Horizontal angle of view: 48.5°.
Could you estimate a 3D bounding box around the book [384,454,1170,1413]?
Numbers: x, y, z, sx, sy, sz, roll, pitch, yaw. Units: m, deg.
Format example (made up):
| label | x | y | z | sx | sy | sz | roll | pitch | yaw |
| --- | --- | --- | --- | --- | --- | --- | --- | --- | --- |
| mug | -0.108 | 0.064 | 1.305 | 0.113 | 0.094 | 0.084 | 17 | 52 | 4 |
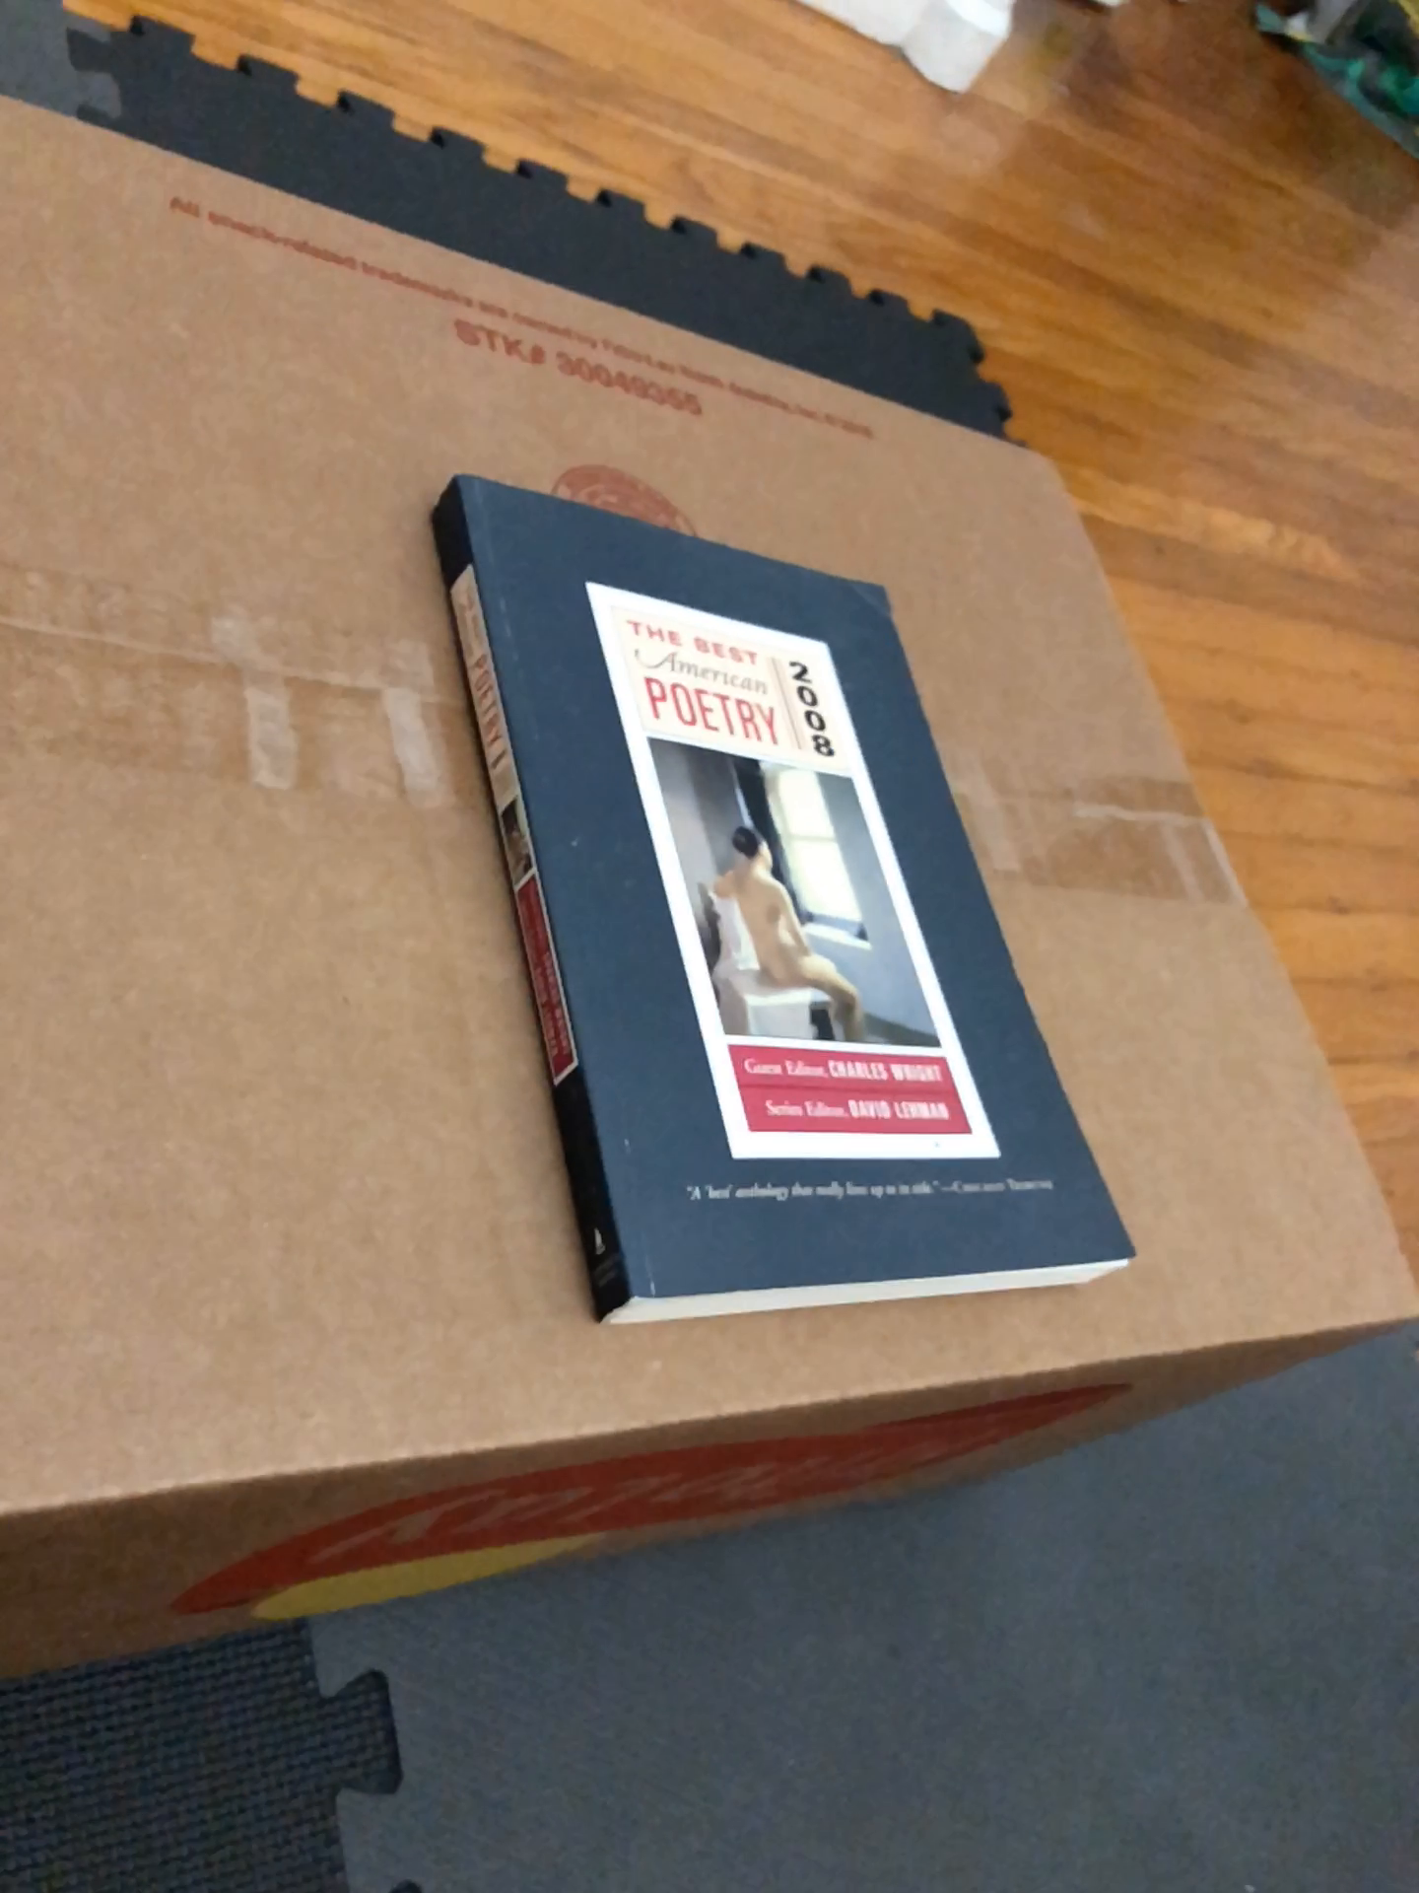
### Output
| label | x | y | z | sx | sy | sz | roll | pitch | yaw |
| --- | --- | --- | --- | --- | --- | --- | --- | --- | --- |
| book | 0.013 | -0.013 | 0.386 | 0.151 | 0.020 | 0.230 | 3 | 58 | -35 |
